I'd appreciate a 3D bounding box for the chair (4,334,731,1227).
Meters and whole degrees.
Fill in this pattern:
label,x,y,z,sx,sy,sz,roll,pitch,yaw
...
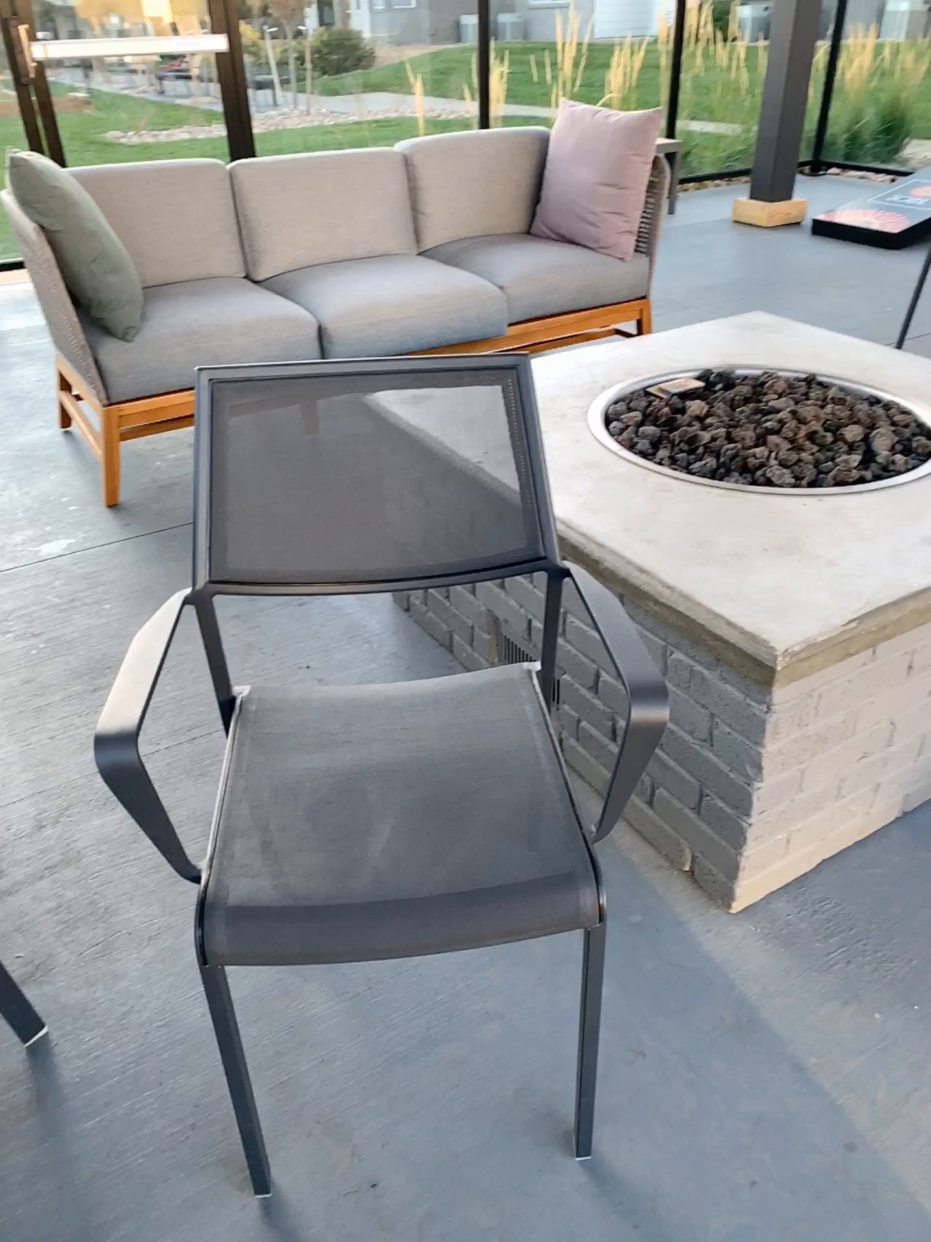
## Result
label,x,y,z,sx,sy,sz,roll,pitch,yaw
chair,-0.085,0.160,1.138,0.510,0.806,0.613,-5,32,-5
